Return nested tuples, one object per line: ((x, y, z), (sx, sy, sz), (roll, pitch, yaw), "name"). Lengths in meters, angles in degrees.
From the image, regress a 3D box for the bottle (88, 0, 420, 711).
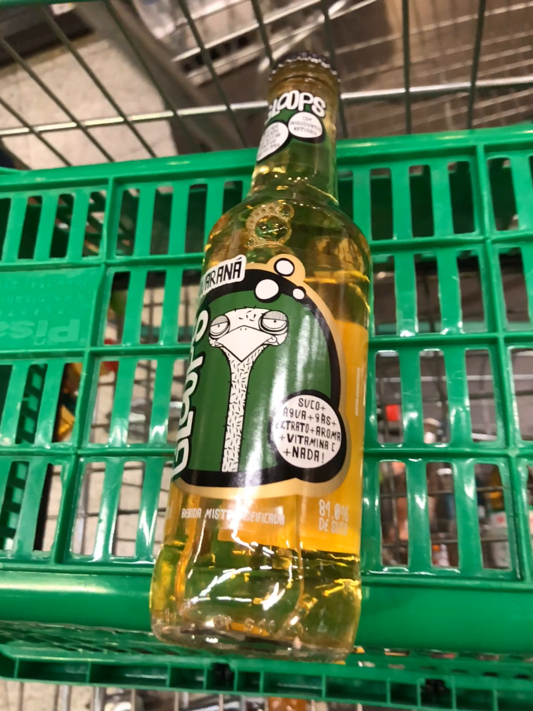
((0.009, -0.014, 0.188), (0.070, 0.060, 0.220), (0, 70, 12), "bottle")
